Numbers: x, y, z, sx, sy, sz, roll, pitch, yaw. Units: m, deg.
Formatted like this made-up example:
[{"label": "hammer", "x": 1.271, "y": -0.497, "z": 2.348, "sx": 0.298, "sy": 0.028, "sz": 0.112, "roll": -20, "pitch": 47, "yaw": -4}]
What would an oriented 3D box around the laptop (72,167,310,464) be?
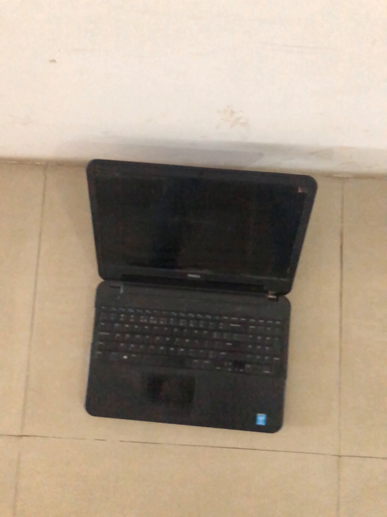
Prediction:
[{"label": "laptop", "x": 0.005, "y": 0.085, "z": 0.709, "sx": 0.322, "sy": 0.166, "sz": 0.408, "roll": 4, "pitch": 84, "yaw": 0}]
